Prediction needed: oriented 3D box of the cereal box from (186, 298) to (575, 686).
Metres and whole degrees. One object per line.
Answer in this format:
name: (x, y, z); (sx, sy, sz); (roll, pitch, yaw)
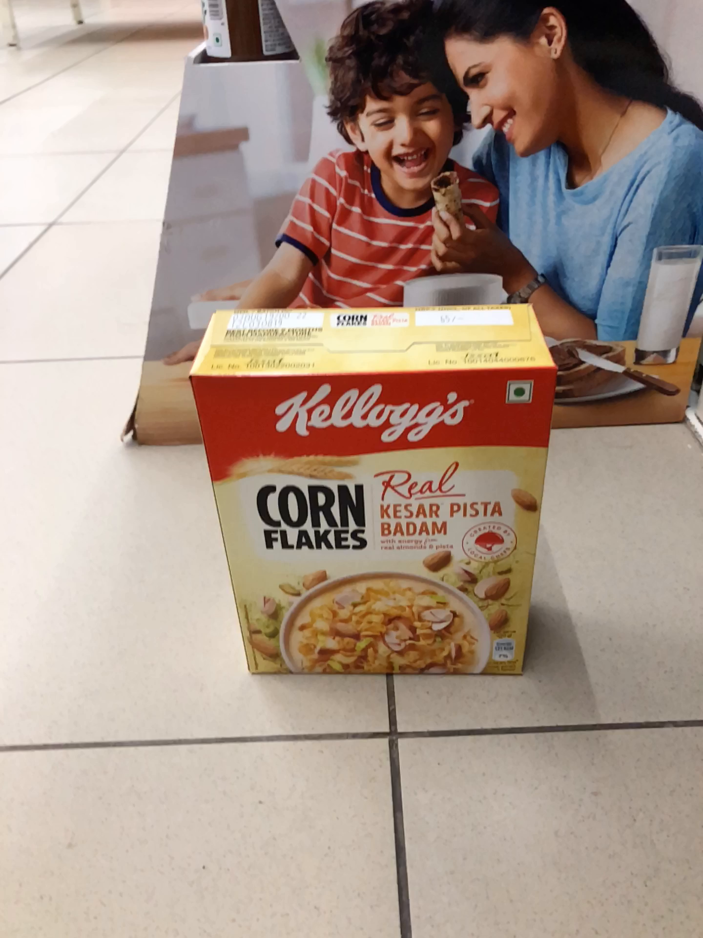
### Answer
cereal box: (0.013, 0.016, 0.353); (0.140, 0.169, 0.060); (-2, 35, 1)
